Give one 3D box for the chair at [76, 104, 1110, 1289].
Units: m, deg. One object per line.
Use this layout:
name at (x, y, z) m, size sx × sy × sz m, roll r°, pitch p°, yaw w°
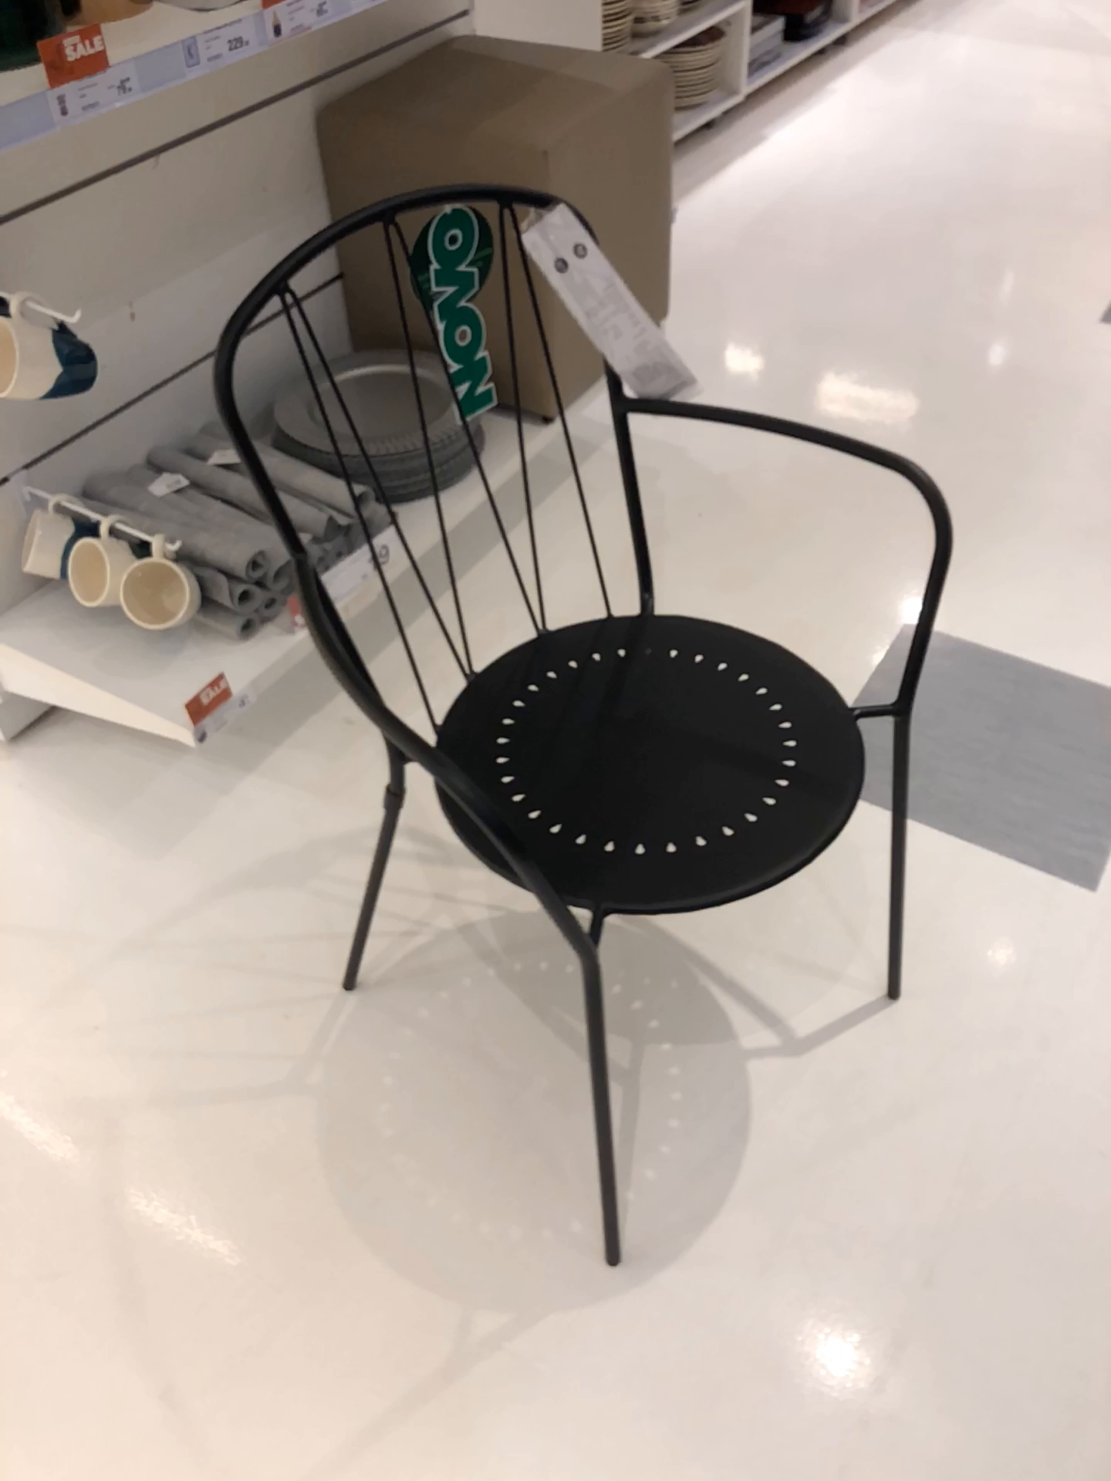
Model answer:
chair at (0.037, -0.038, 1.157) m, size 0.512 × 0.814 × 0.562 m, roll -33°, pitch 51°, yaw -27°
